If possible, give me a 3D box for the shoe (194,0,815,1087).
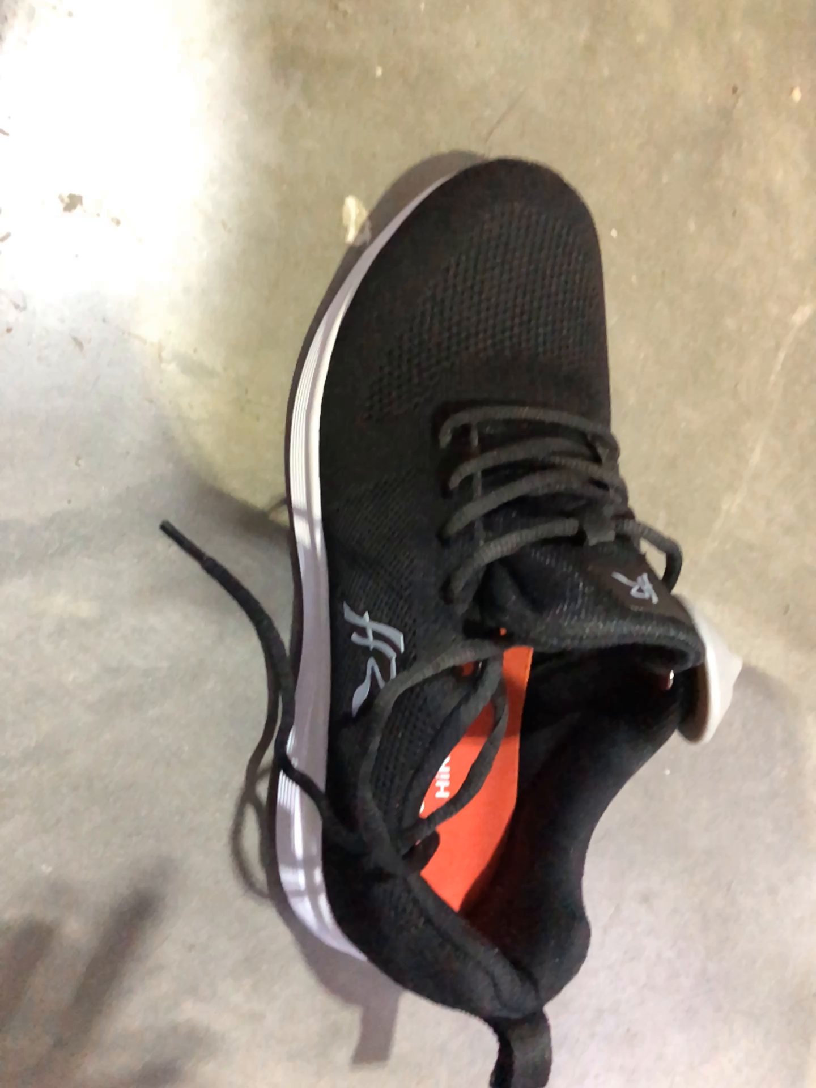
[{"bbox_3d":[0.040,0.009,0.260,0.130,0.120,0.280,11,86,-25],"label":"shoe"}]
